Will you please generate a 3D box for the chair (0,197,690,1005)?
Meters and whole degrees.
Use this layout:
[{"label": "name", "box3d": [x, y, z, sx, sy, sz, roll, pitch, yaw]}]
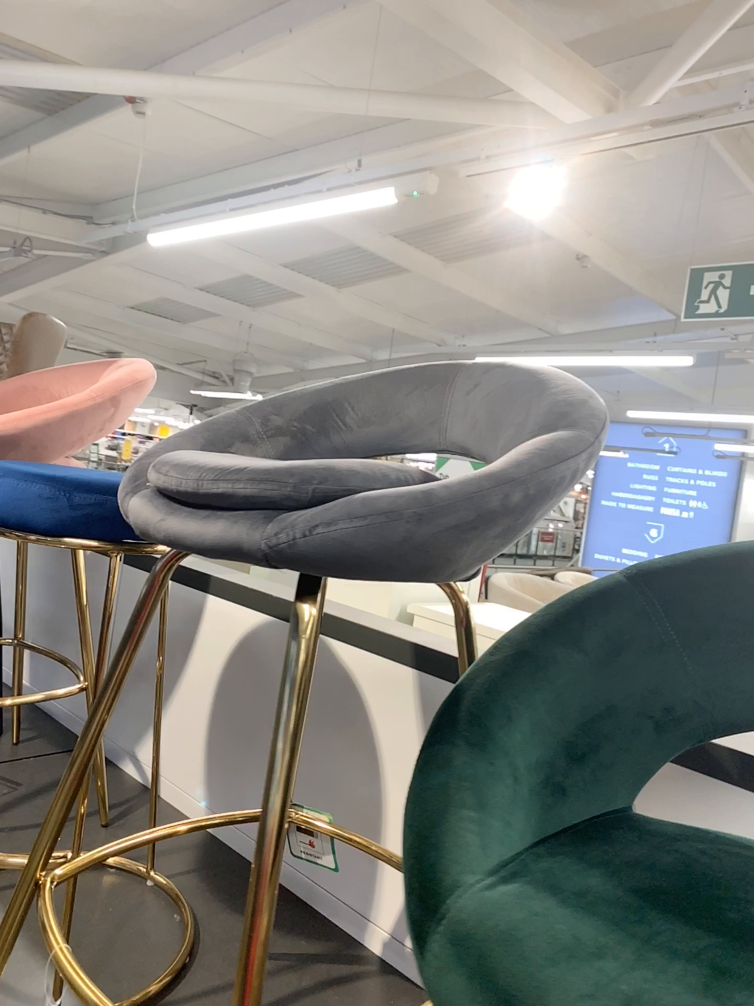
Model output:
[{"label": "chair", "box3d": [-0.064, 0.229, 0.820, 0.486, 0.874, 0.474, 9, 1, 43]}]
